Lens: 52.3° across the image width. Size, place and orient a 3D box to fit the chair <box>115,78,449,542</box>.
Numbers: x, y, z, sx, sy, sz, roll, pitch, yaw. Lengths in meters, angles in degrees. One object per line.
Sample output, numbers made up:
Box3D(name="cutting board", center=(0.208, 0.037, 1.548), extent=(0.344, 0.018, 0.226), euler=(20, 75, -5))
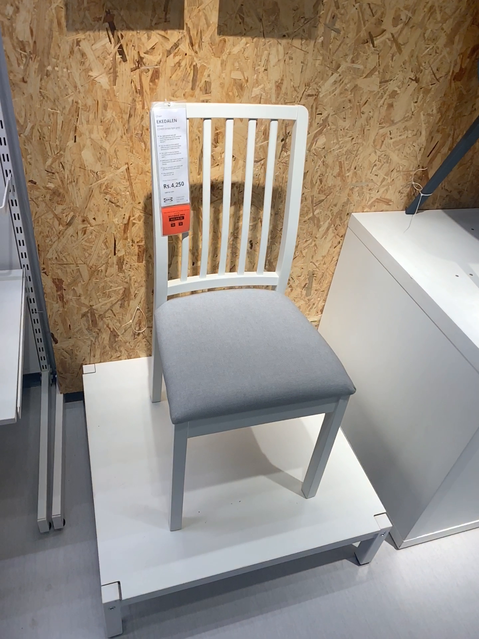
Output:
Box3D(name="chair", center=(-0.017, 0.001, 1.127), extent=(0.430, 0.886, 0.512), euler=(-6, 41, -18))
